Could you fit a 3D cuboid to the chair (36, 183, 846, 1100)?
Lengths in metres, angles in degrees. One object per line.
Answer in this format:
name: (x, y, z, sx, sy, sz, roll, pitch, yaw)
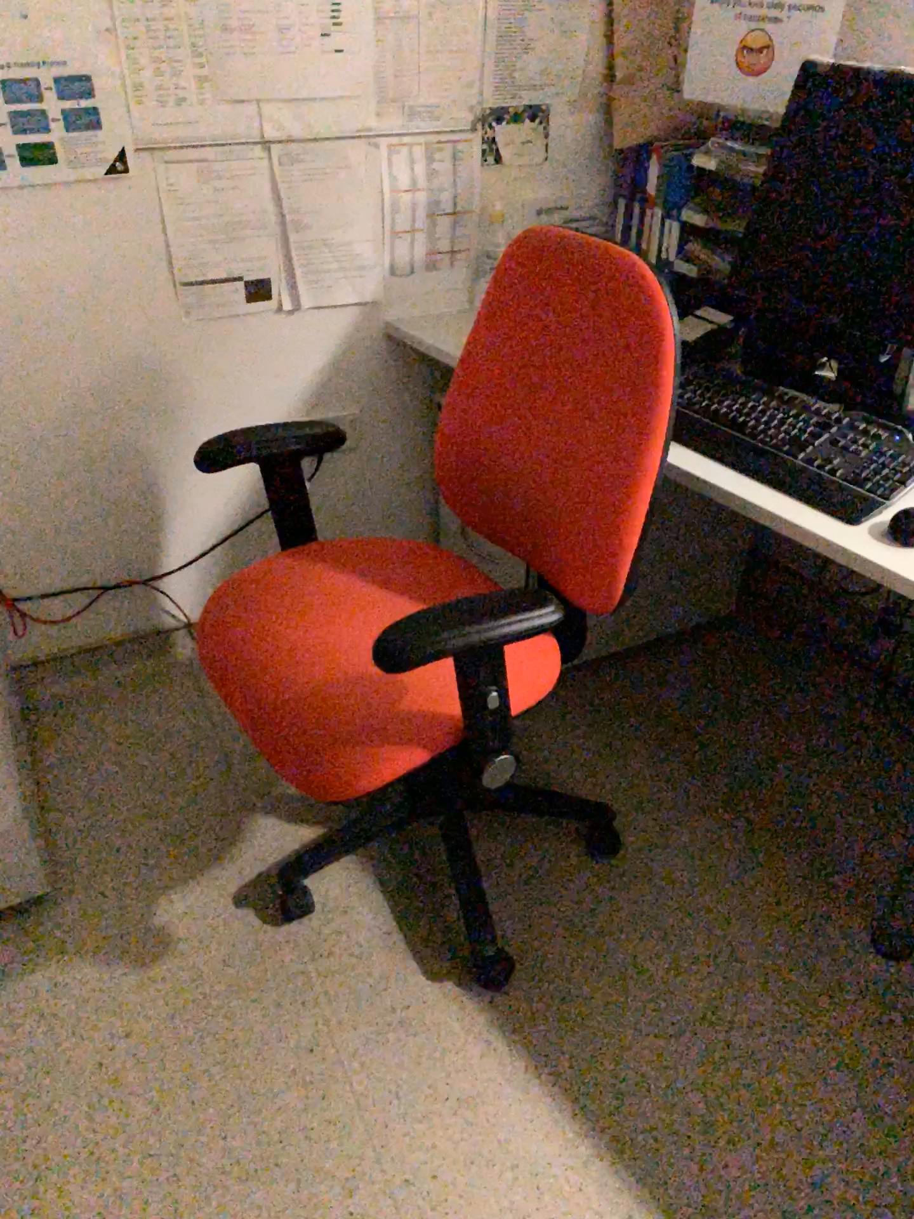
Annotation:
chair: (-0.044, -0.015, 1.323, 0.653, 0.921, 0.674, -24, 42, -31)
